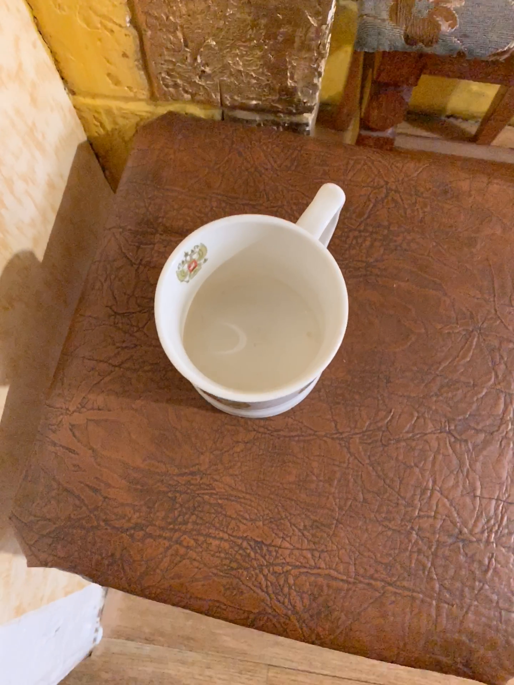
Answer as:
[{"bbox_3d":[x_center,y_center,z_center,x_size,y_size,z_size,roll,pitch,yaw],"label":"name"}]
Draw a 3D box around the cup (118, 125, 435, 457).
[{"bbox_3d":[0.012,-0.021,0.295,0.099,0.098,0.127,28,75,8],"label":"cup"}]
